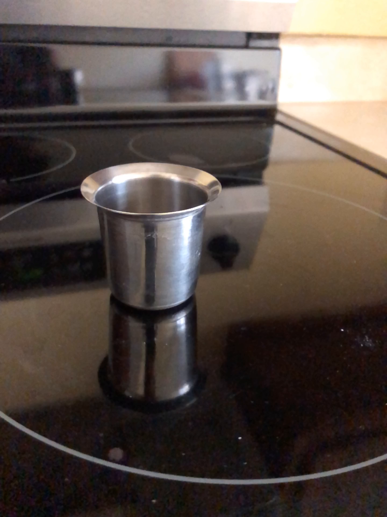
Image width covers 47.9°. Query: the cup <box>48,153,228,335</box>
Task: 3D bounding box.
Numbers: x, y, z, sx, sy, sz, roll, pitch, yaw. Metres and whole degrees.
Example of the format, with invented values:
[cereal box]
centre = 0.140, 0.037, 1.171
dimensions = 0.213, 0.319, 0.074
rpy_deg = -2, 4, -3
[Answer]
[cup]
centre = -0.020, -0.011, 0.205
dimensions = 0.066, 0.056, 0.073
rpy_deg = 2, 29, -1
